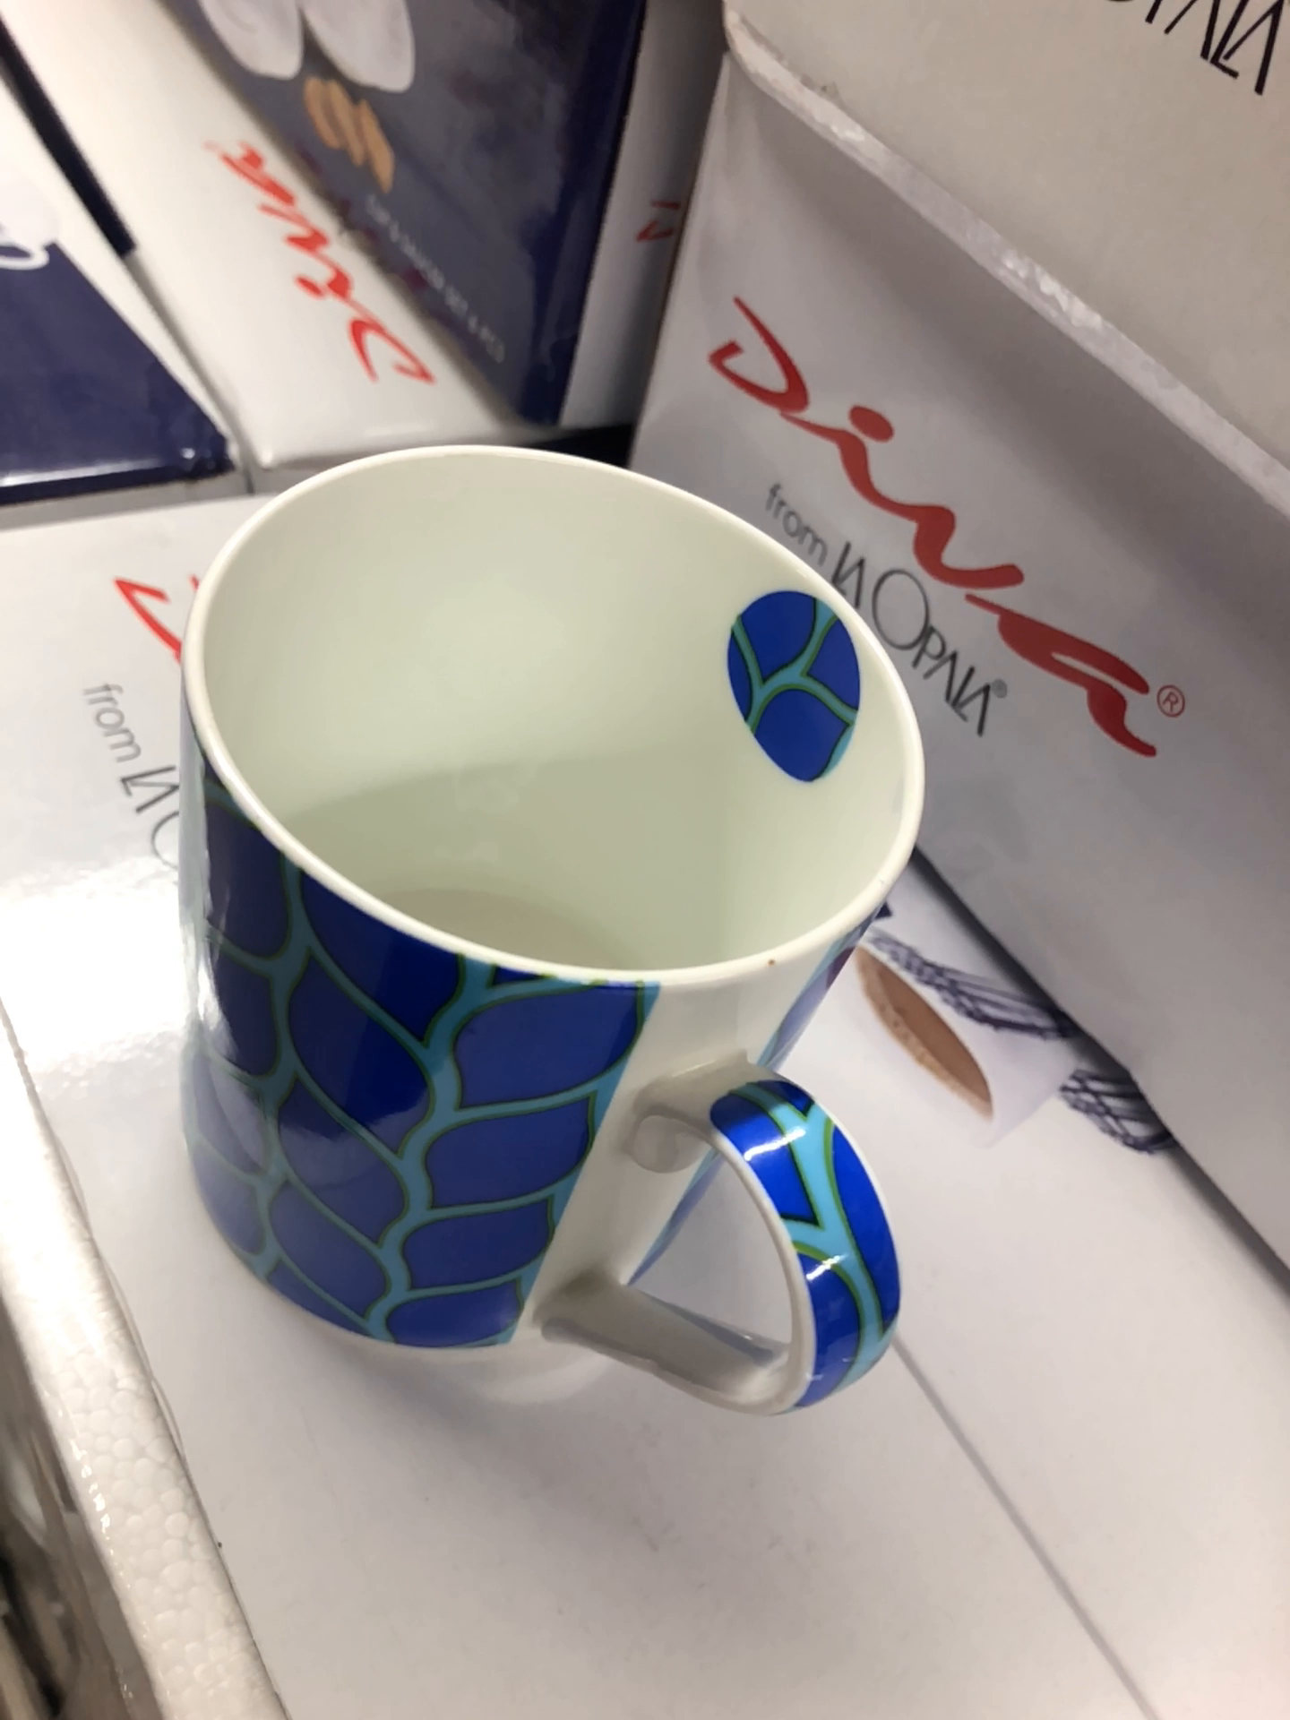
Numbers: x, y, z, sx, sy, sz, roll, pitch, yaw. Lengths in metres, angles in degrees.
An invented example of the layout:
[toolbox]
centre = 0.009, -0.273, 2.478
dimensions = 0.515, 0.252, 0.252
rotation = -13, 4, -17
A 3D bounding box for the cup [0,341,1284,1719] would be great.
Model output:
[cup]
centre = -0.014, 0.014, 0.178
dimensions = 0.080, 0.089, 0.120
rotation = -20, 58, -30
